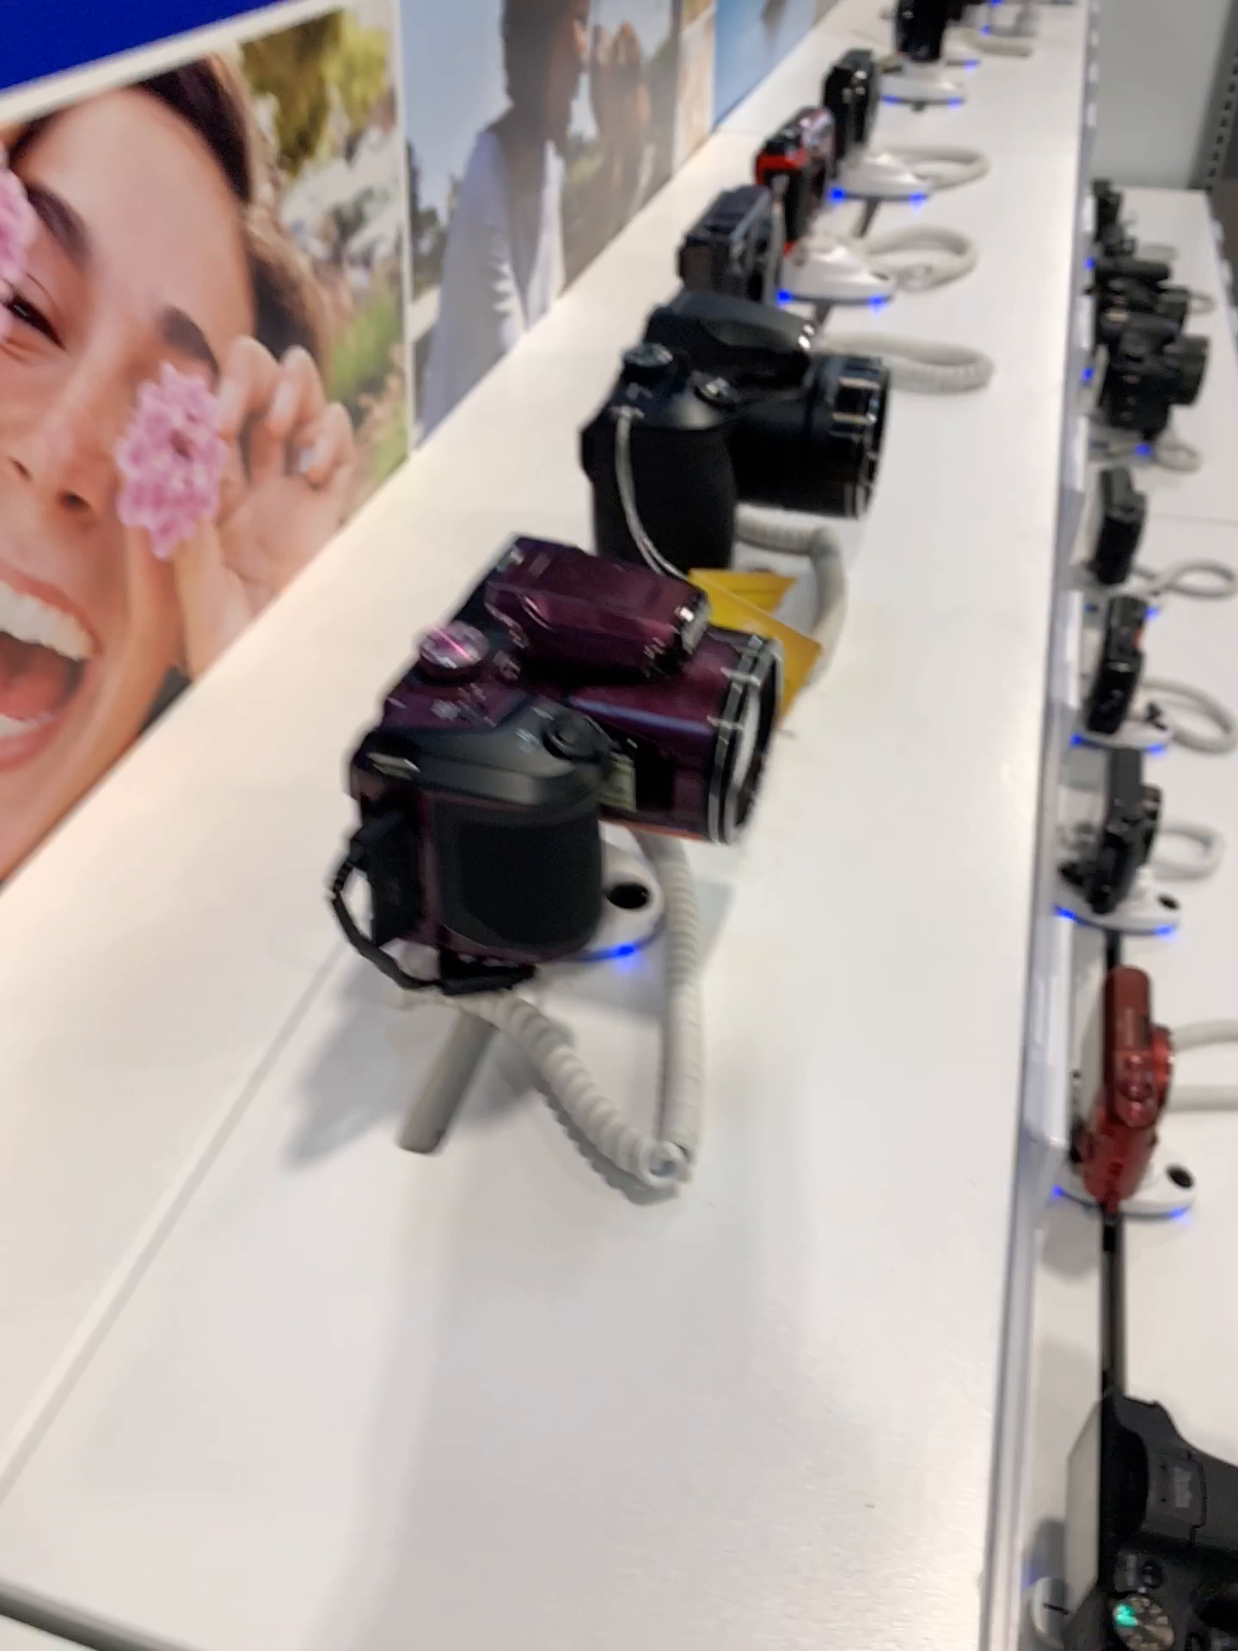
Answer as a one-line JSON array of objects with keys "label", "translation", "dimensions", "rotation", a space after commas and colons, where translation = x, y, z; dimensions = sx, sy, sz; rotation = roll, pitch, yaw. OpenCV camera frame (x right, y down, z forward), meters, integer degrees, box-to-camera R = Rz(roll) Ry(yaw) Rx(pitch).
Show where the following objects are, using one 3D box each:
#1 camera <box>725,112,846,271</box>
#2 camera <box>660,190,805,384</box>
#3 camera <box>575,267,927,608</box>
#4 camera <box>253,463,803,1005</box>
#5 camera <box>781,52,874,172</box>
[{"label": "camera", "translation": [0.108, -0.411, 0.830], "dimensions": [0.050, 0.060, 0.131], "rotation": [10, 42, 14]}, {"label": "camera", "translation": [0.062, -0.292, 0.693], "dimensions": [0.050, 0.060, 0.121], "rotation": [10, 42, 14]}, {"label": "camera", "translation": [0.055, -0.159, 0.514], "dimensions": [0.110, 0.079, 0.121], "rotation": [10, 42, 14]}, {"label": "camera", "translation": [-0.016, -0.034, 0.371], "dimensions": [0.110, 0.079, 0.131], "rotation": [10, 42, 14]}, {"label": "camera", "translation": [0.163, -0.557, 1.002], "dimensions": [0.050, 0.060, 0.111], "rotation": [10, 42, 14]}]
